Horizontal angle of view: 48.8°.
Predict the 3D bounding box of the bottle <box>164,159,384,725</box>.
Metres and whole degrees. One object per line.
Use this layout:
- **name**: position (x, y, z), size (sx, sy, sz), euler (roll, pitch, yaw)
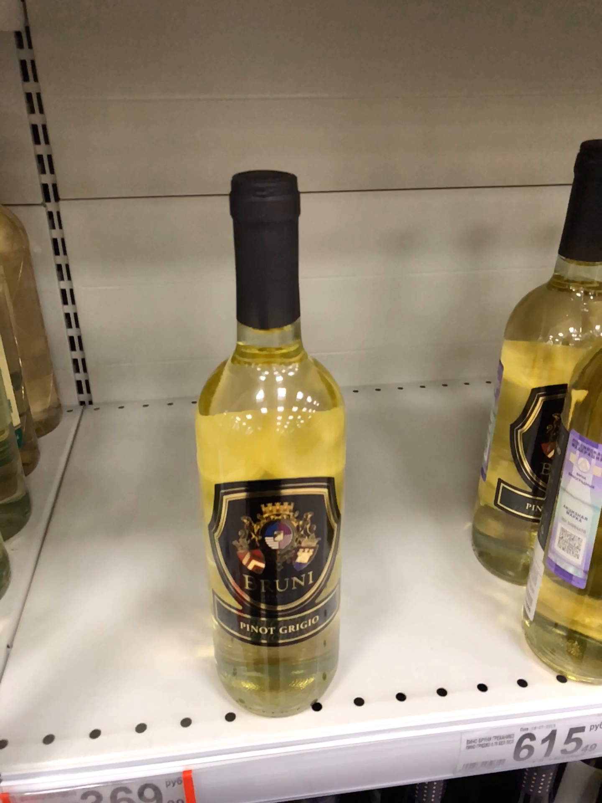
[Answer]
- **bottle**: position (-0.014, 0.033, 0.344), size (0.080, 0.289, 0.080), euler (0, 28, 0)
